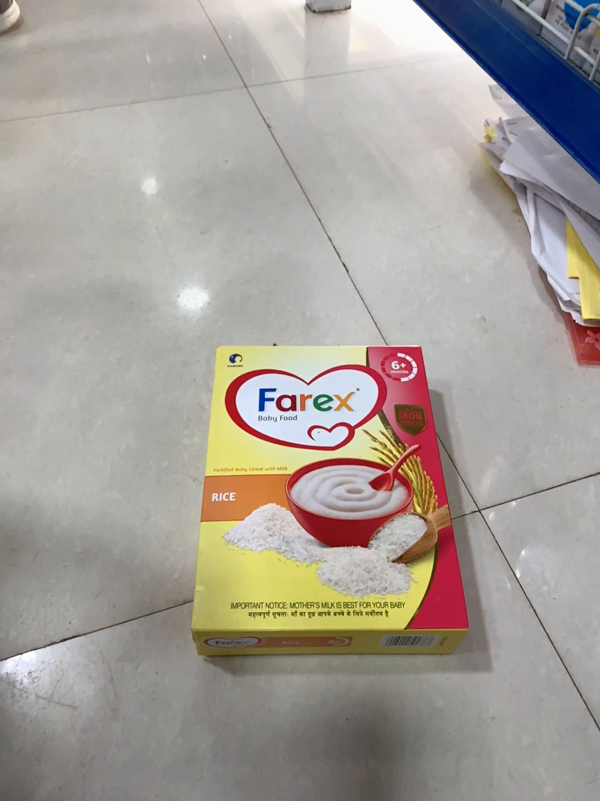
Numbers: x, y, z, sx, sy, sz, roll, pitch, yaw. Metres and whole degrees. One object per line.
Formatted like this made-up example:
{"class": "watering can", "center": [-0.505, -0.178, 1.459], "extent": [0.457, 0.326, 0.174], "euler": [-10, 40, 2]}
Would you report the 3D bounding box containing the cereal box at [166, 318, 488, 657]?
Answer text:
{"class": "cereal box", "center": [0.011, 0.044, 0.394], "extent": [0.160, 0.060, 0.211], "euler": [0, 53, -2]}
